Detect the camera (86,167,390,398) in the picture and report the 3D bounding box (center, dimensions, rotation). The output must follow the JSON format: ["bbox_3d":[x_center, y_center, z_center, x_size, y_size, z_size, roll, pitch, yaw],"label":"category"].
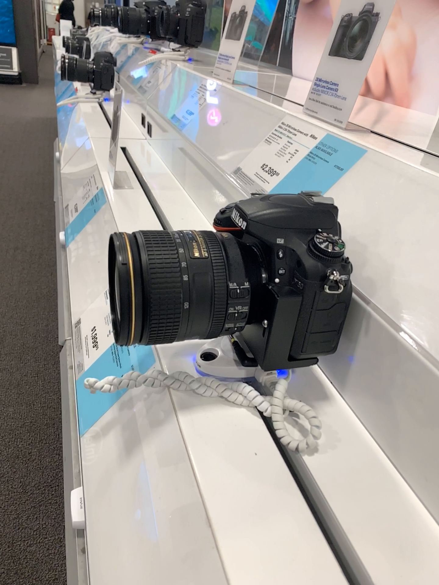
[{"bbox_3d":[0.000,-0.023,0.353,0.180,0.111,0.141,-6,32,-22],"label":"camera"}]
